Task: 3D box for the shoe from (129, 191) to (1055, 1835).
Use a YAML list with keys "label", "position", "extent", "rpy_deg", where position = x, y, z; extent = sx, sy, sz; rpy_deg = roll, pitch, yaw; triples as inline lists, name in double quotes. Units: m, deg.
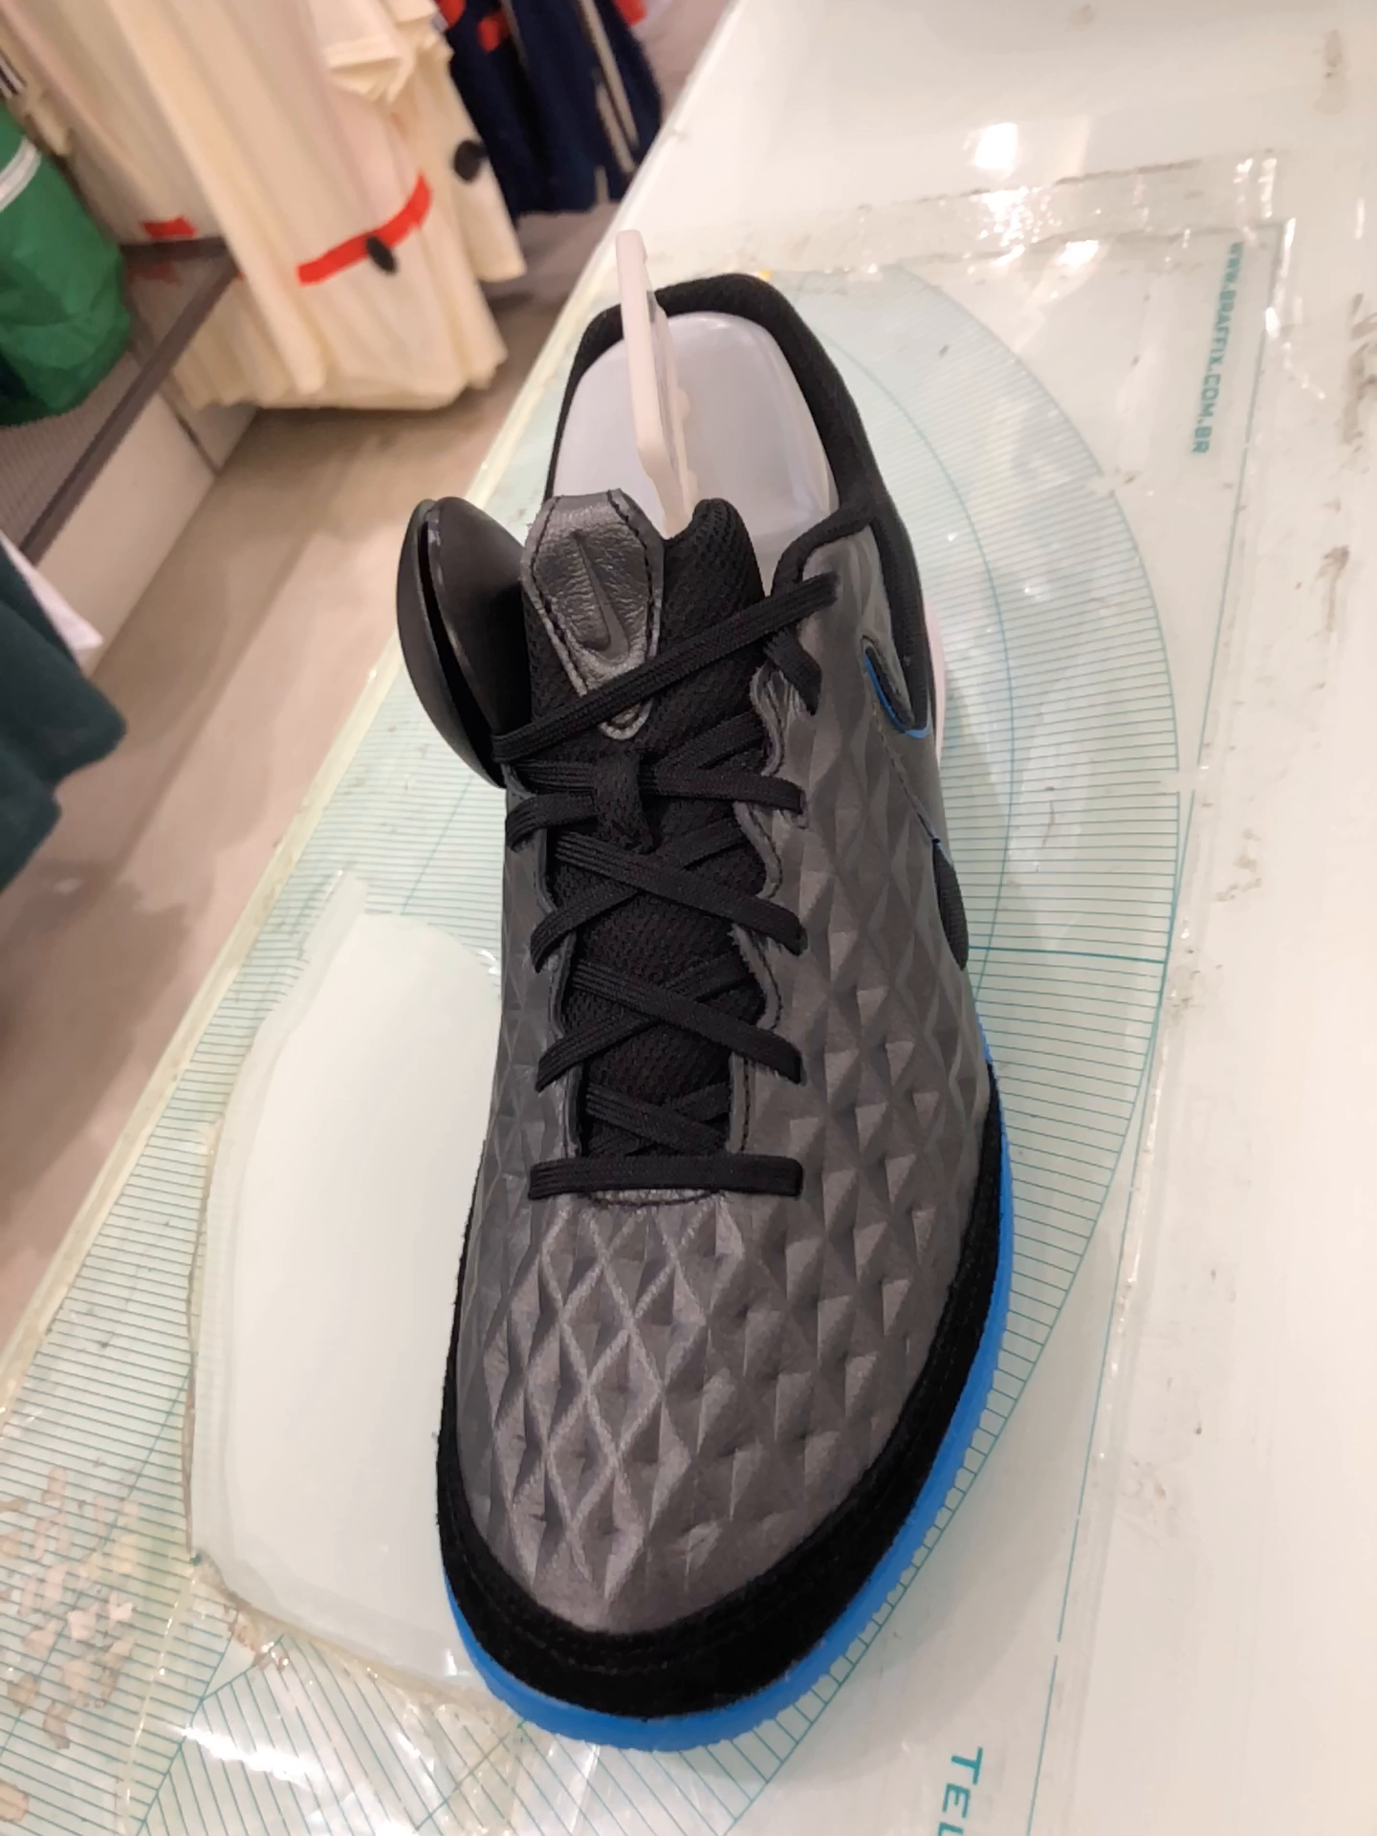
- label: "shoe"
  position: [0.012, -0.003, 0.293]
  extent: [0.100, 0.099, 0.291]
  rpy_deg: [-4, 53, 18]
